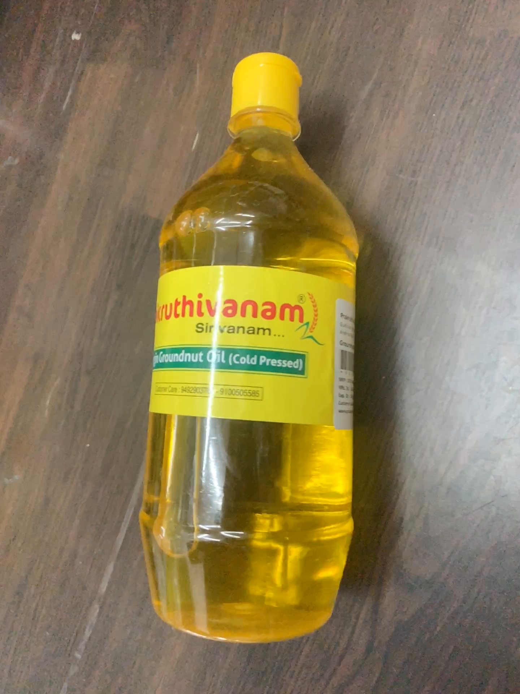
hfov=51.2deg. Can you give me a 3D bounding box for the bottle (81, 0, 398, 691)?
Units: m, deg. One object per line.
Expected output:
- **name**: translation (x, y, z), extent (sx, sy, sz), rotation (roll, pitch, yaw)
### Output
- **bottle**: translation (-0.001, -0.024, 0.228), extent (0.090, 0.080, 0.260), rotation (-1, 82, 31)
